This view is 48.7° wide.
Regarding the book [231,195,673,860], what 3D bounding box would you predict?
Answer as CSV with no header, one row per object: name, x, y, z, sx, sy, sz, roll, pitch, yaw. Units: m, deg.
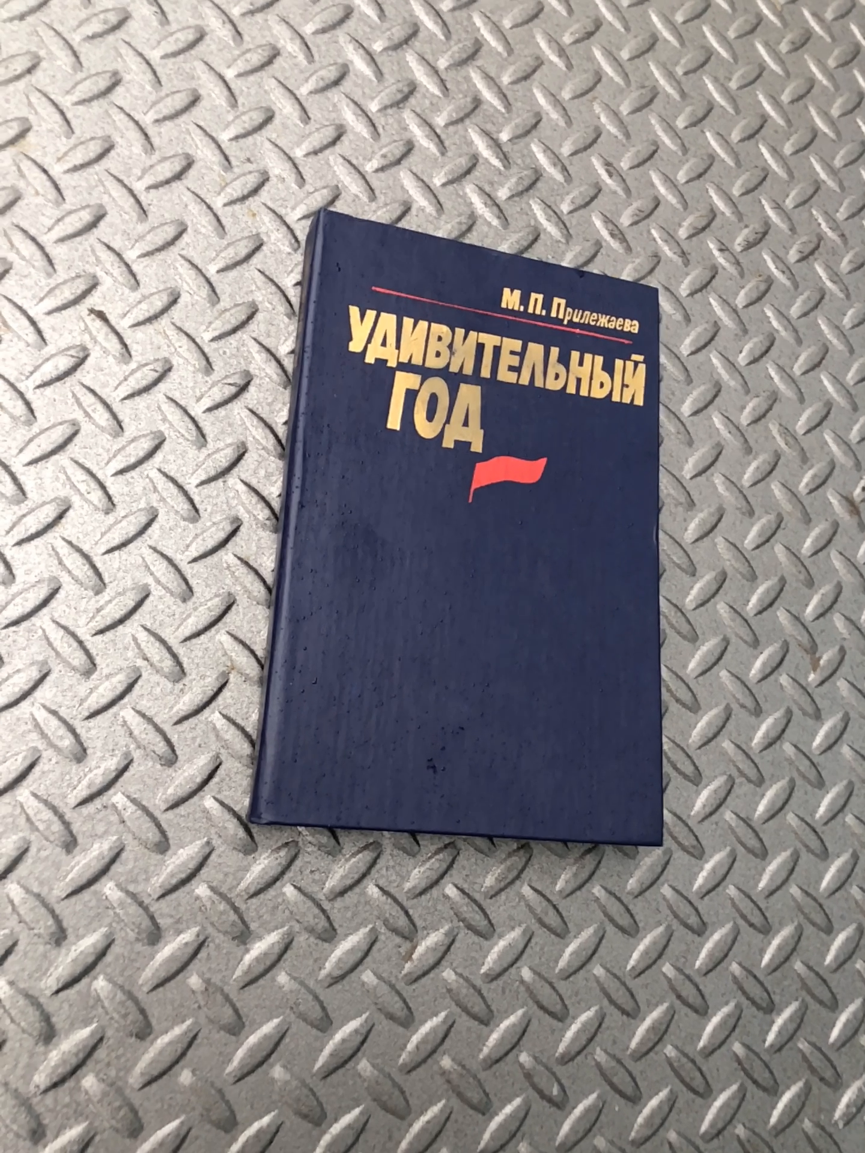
book,0.011,-0.013,0.322,0.130,0.040,0.200,8,77,-16
